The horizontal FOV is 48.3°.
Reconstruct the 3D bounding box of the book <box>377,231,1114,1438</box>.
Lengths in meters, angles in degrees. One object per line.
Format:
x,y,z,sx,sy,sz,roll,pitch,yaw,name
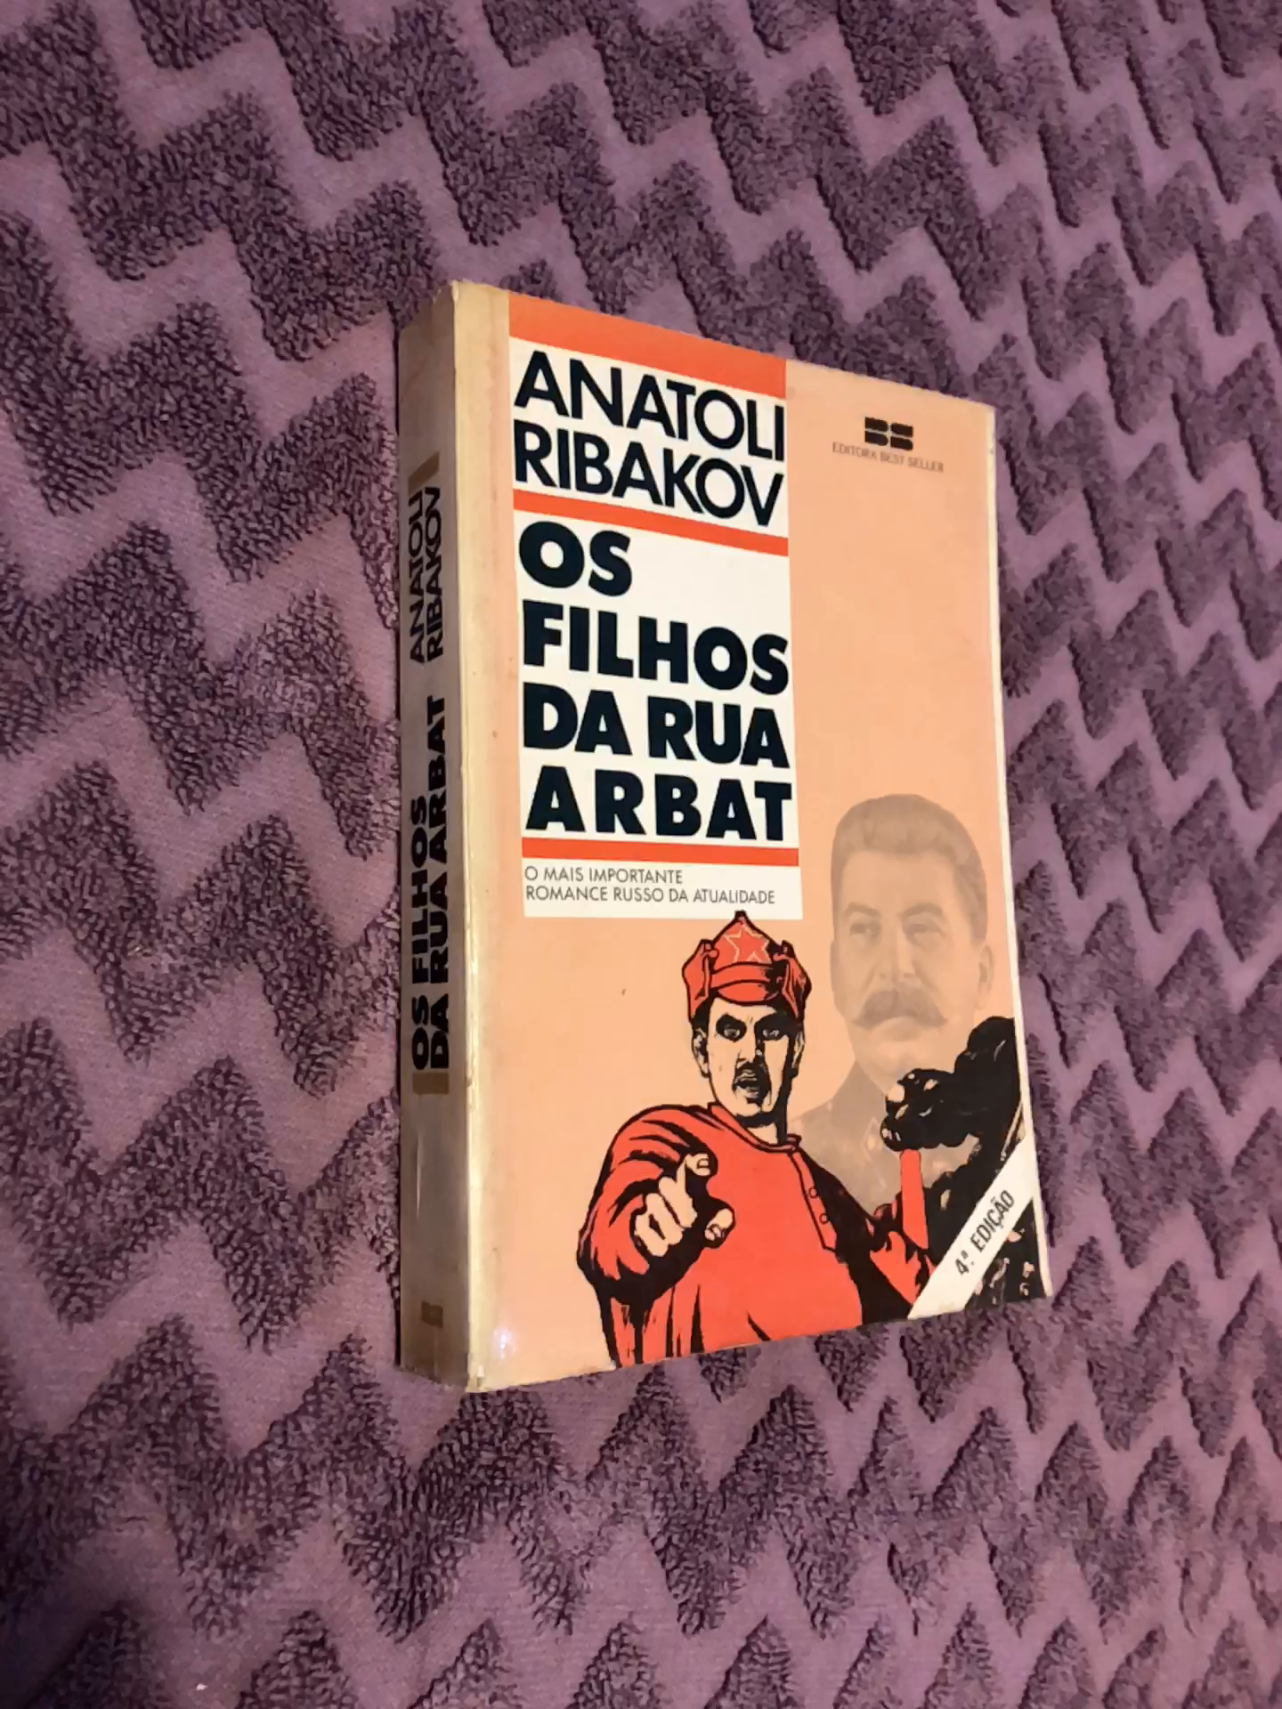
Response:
0.024,-0.004,0.278,0.141,0.040,0.190,1,86,-31,book
